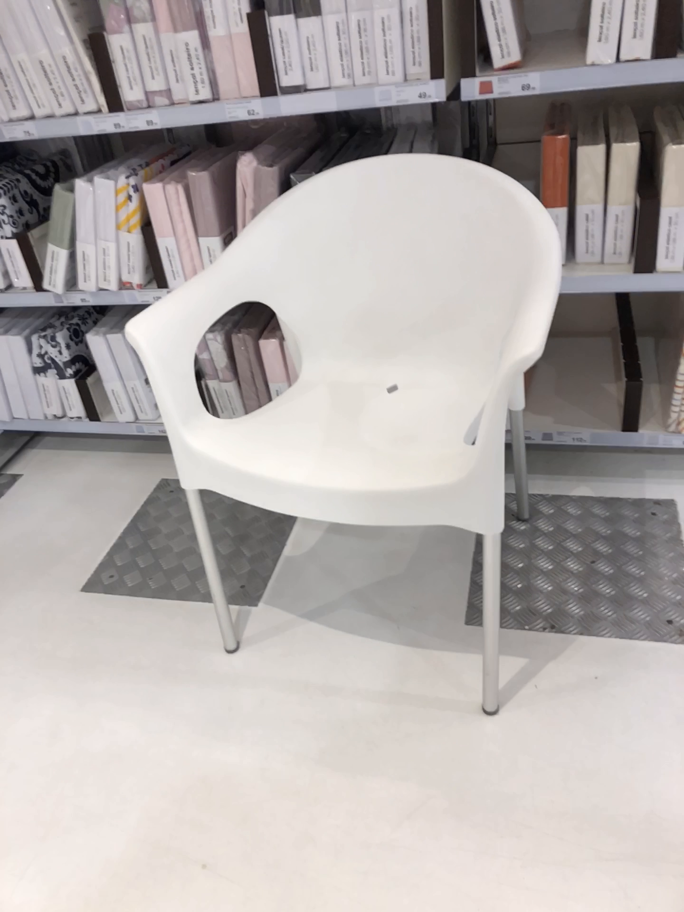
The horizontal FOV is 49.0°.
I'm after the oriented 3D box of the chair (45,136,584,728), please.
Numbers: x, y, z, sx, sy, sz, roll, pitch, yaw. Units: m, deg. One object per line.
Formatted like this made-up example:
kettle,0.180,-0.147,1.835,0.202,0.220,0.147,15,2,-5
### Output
chair,0.042,-0.074,1.242,0.591,0.705,0.553,7,37,22
